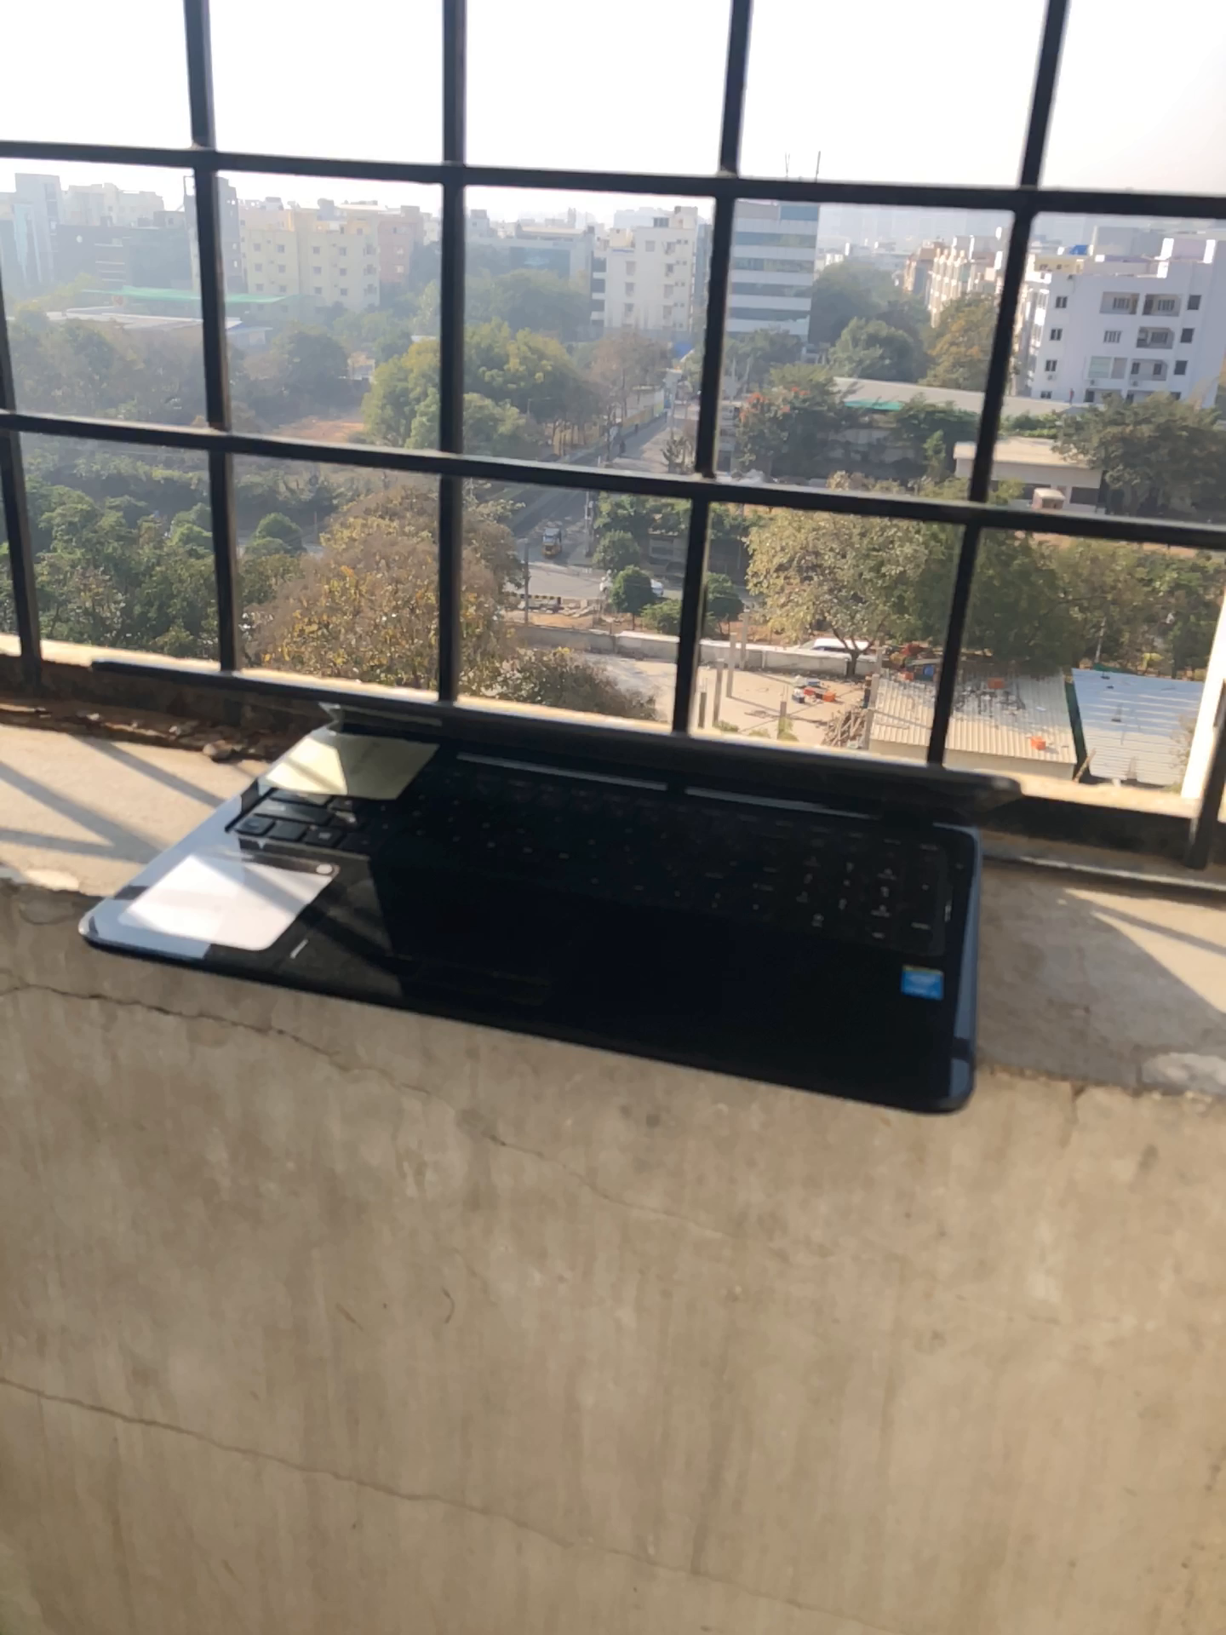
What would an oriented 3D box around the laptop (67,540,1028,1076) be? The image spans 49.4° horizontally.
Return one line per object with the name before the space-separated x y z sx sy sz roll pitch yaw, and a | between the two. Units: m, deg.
laptop | -0.011 -0.030 0.613 0.363 0.113 0.245 9 23 12
